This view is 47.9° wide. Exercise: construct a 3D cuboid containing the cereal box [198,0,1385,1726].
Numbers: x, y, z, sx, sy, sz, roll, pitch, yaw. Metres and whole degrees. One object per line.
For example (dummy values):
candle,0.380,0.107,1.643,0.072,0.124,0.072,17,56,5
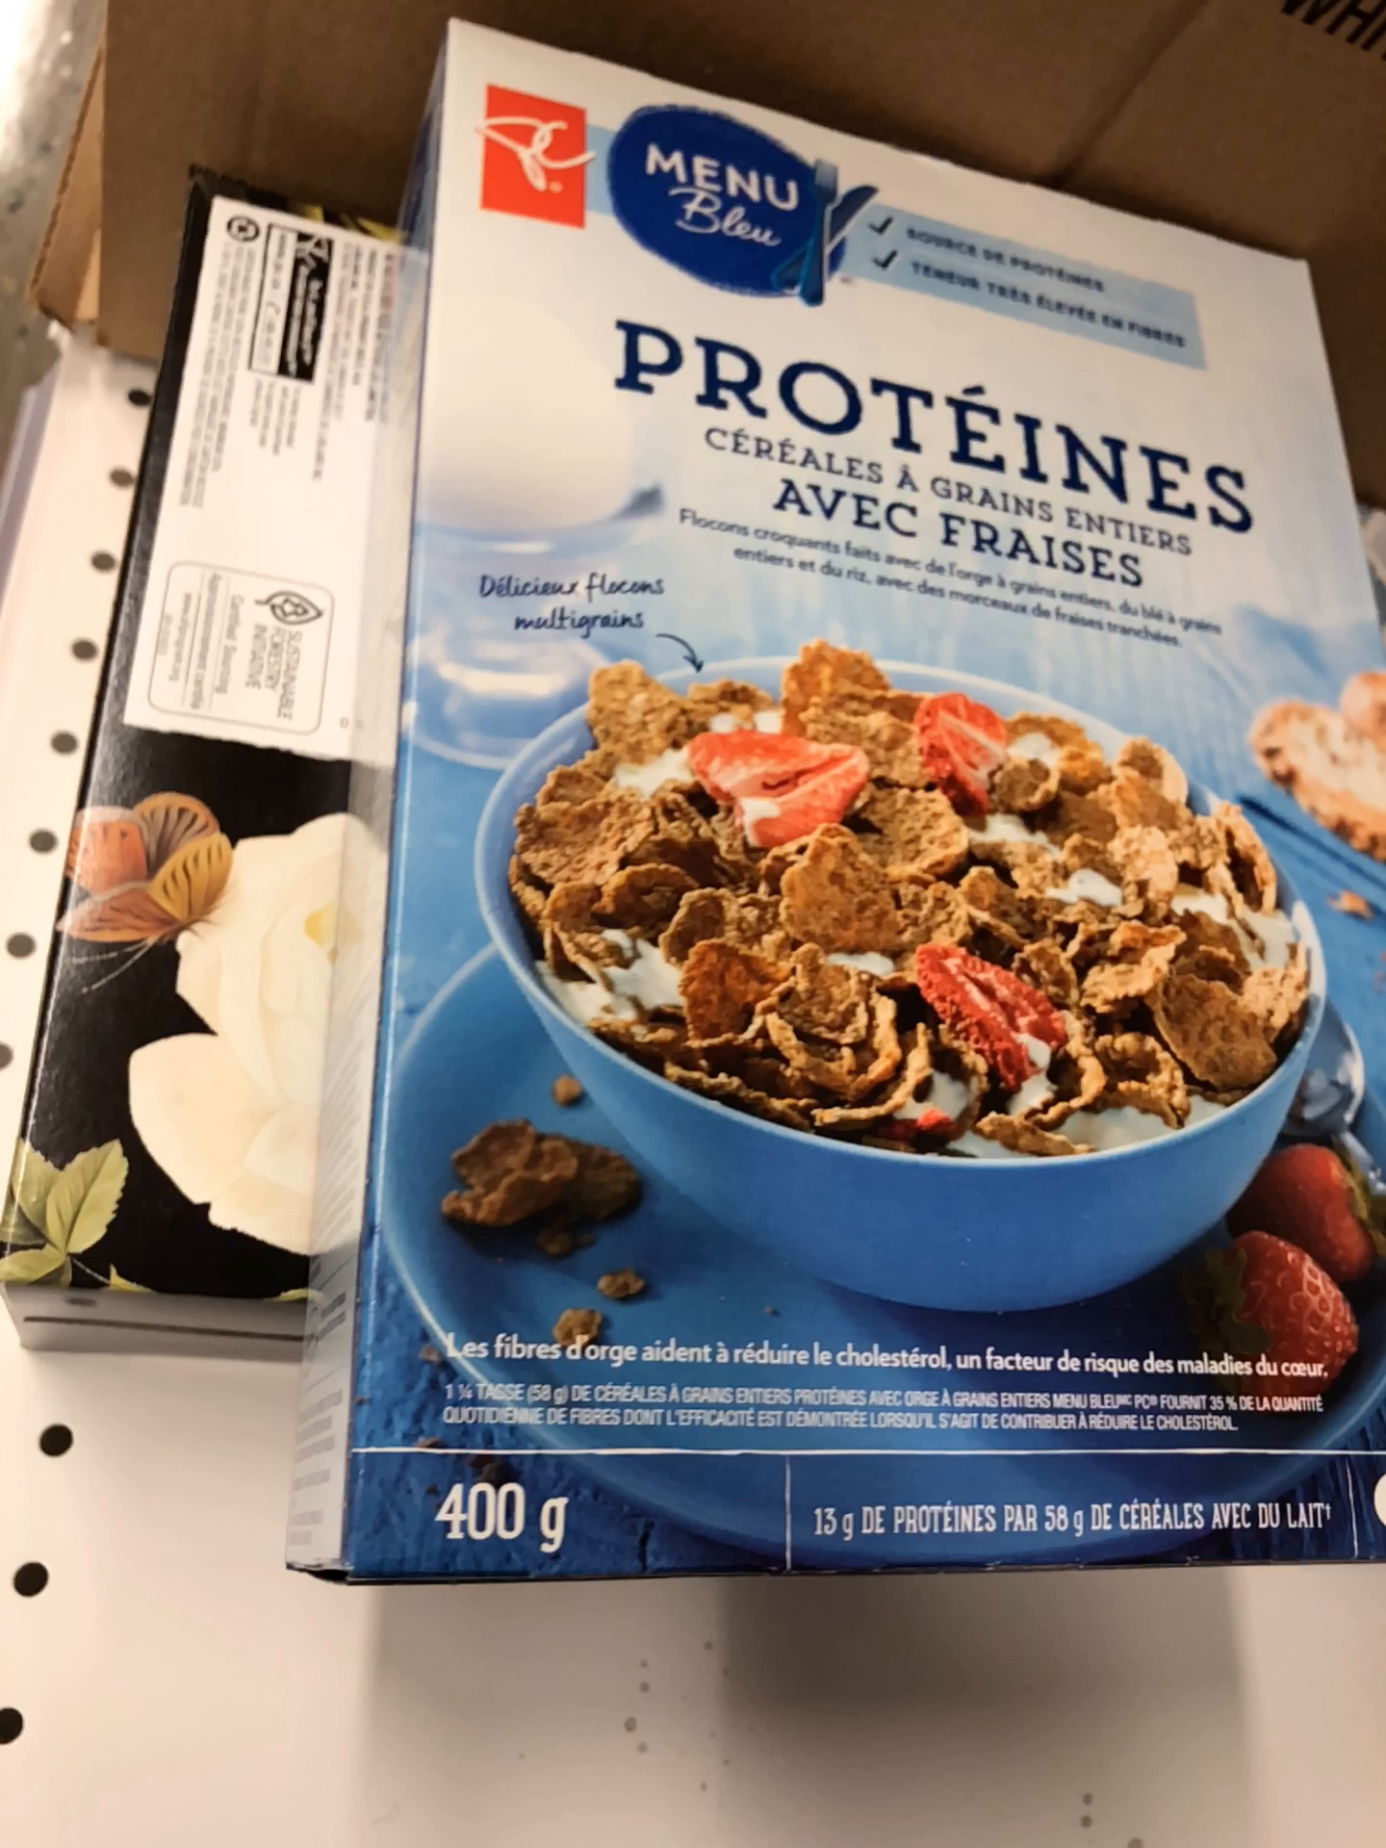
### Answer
cereal box,0.032,-0.019,0.251,0.190,0.050,0.250,5,67,-17
